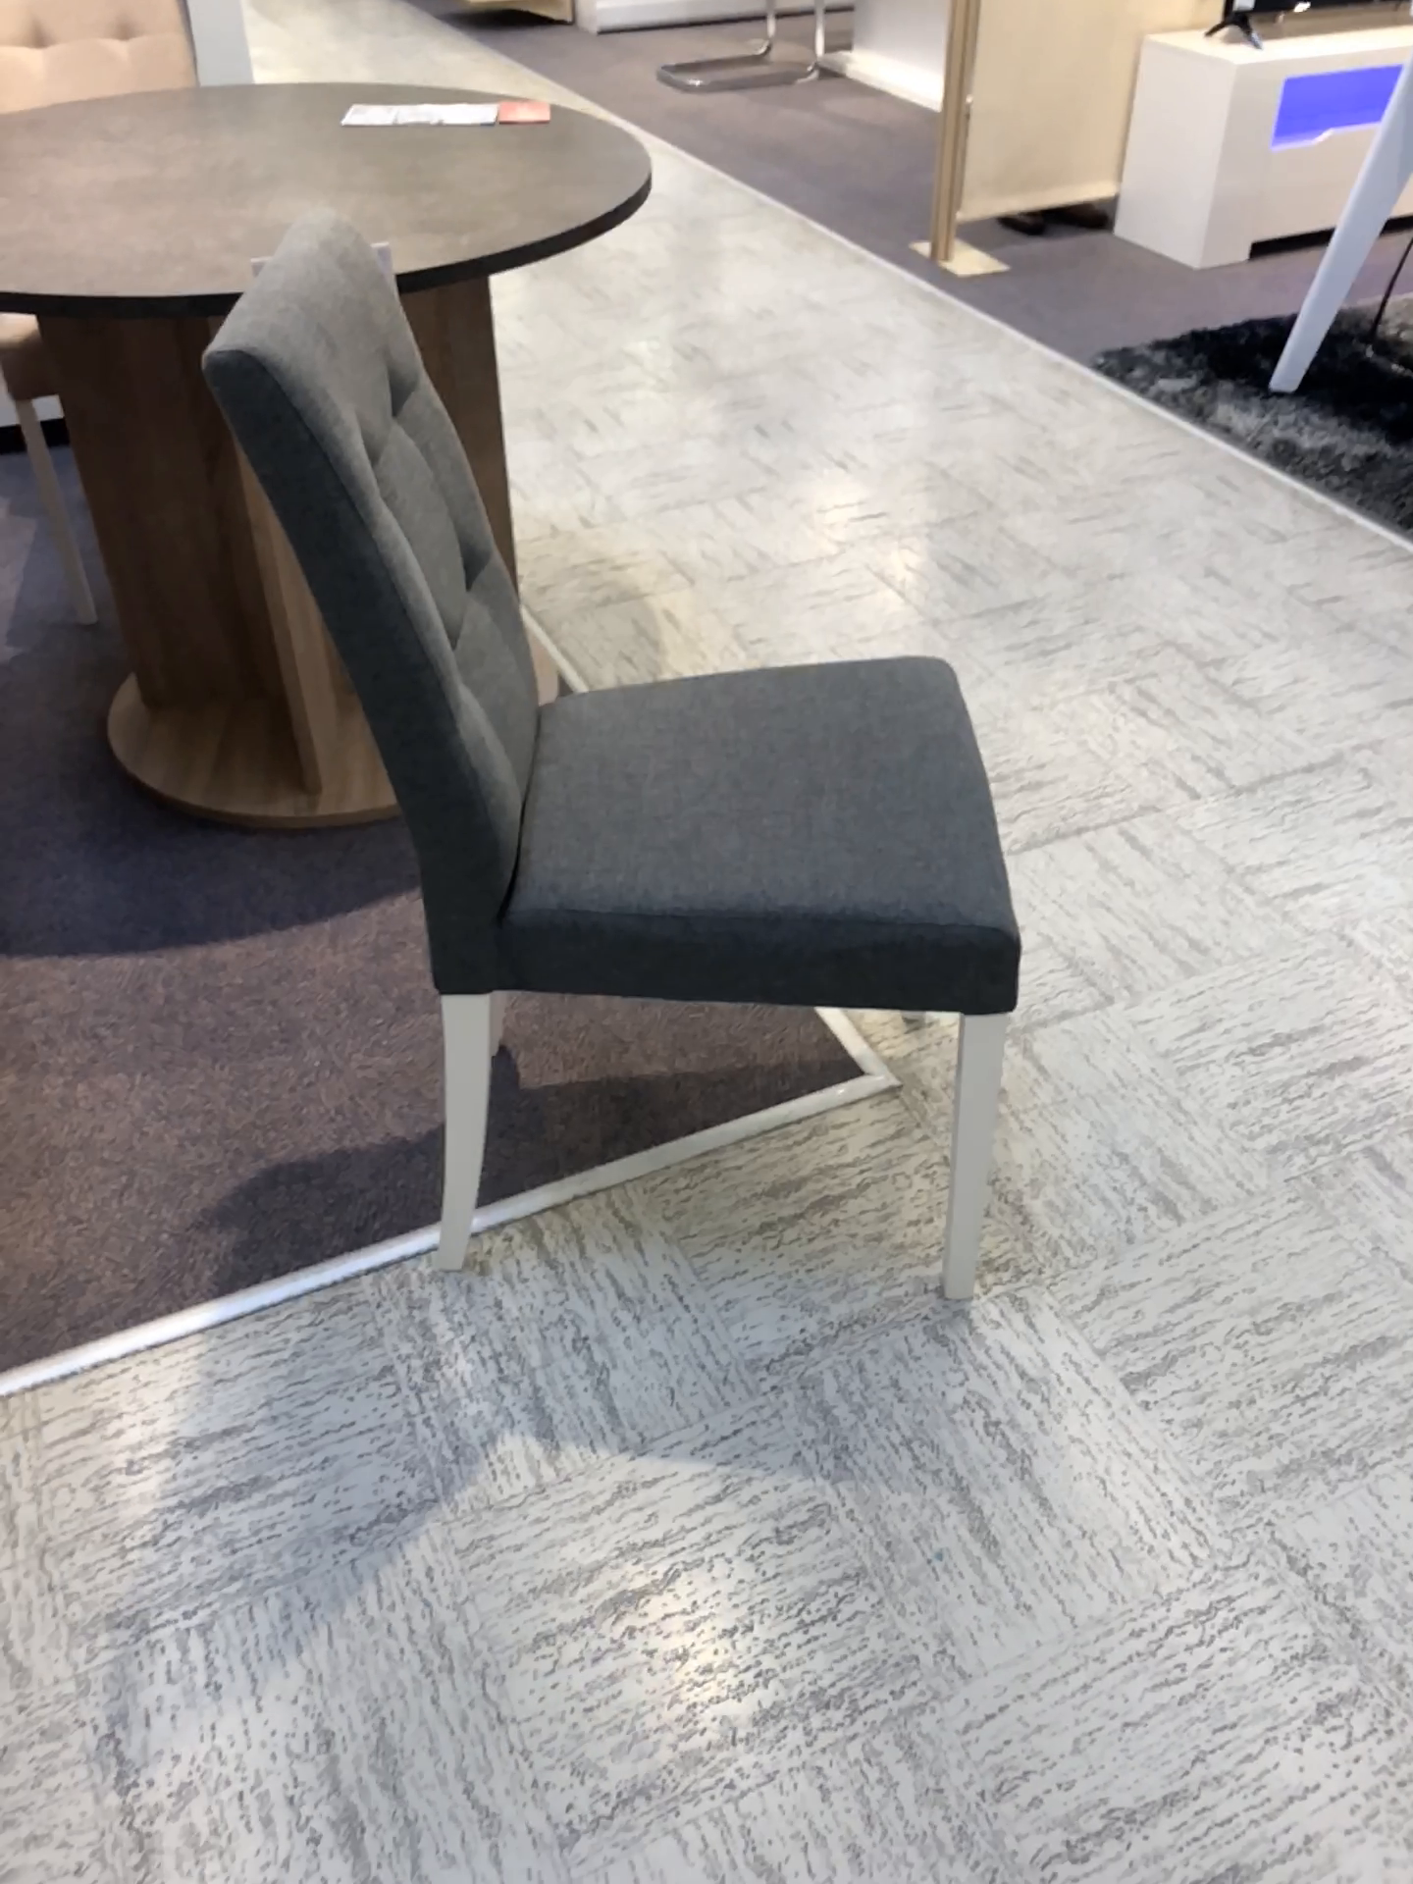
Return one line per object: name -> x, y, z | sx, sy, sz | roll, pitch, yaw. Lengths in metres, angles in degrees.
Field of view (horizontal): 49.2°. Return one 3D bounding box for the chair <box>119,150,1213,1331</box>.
chair -> -0.015, -0.134, 1.256 | 0.580, 0.825, 0.463 | -1, 39, 1
